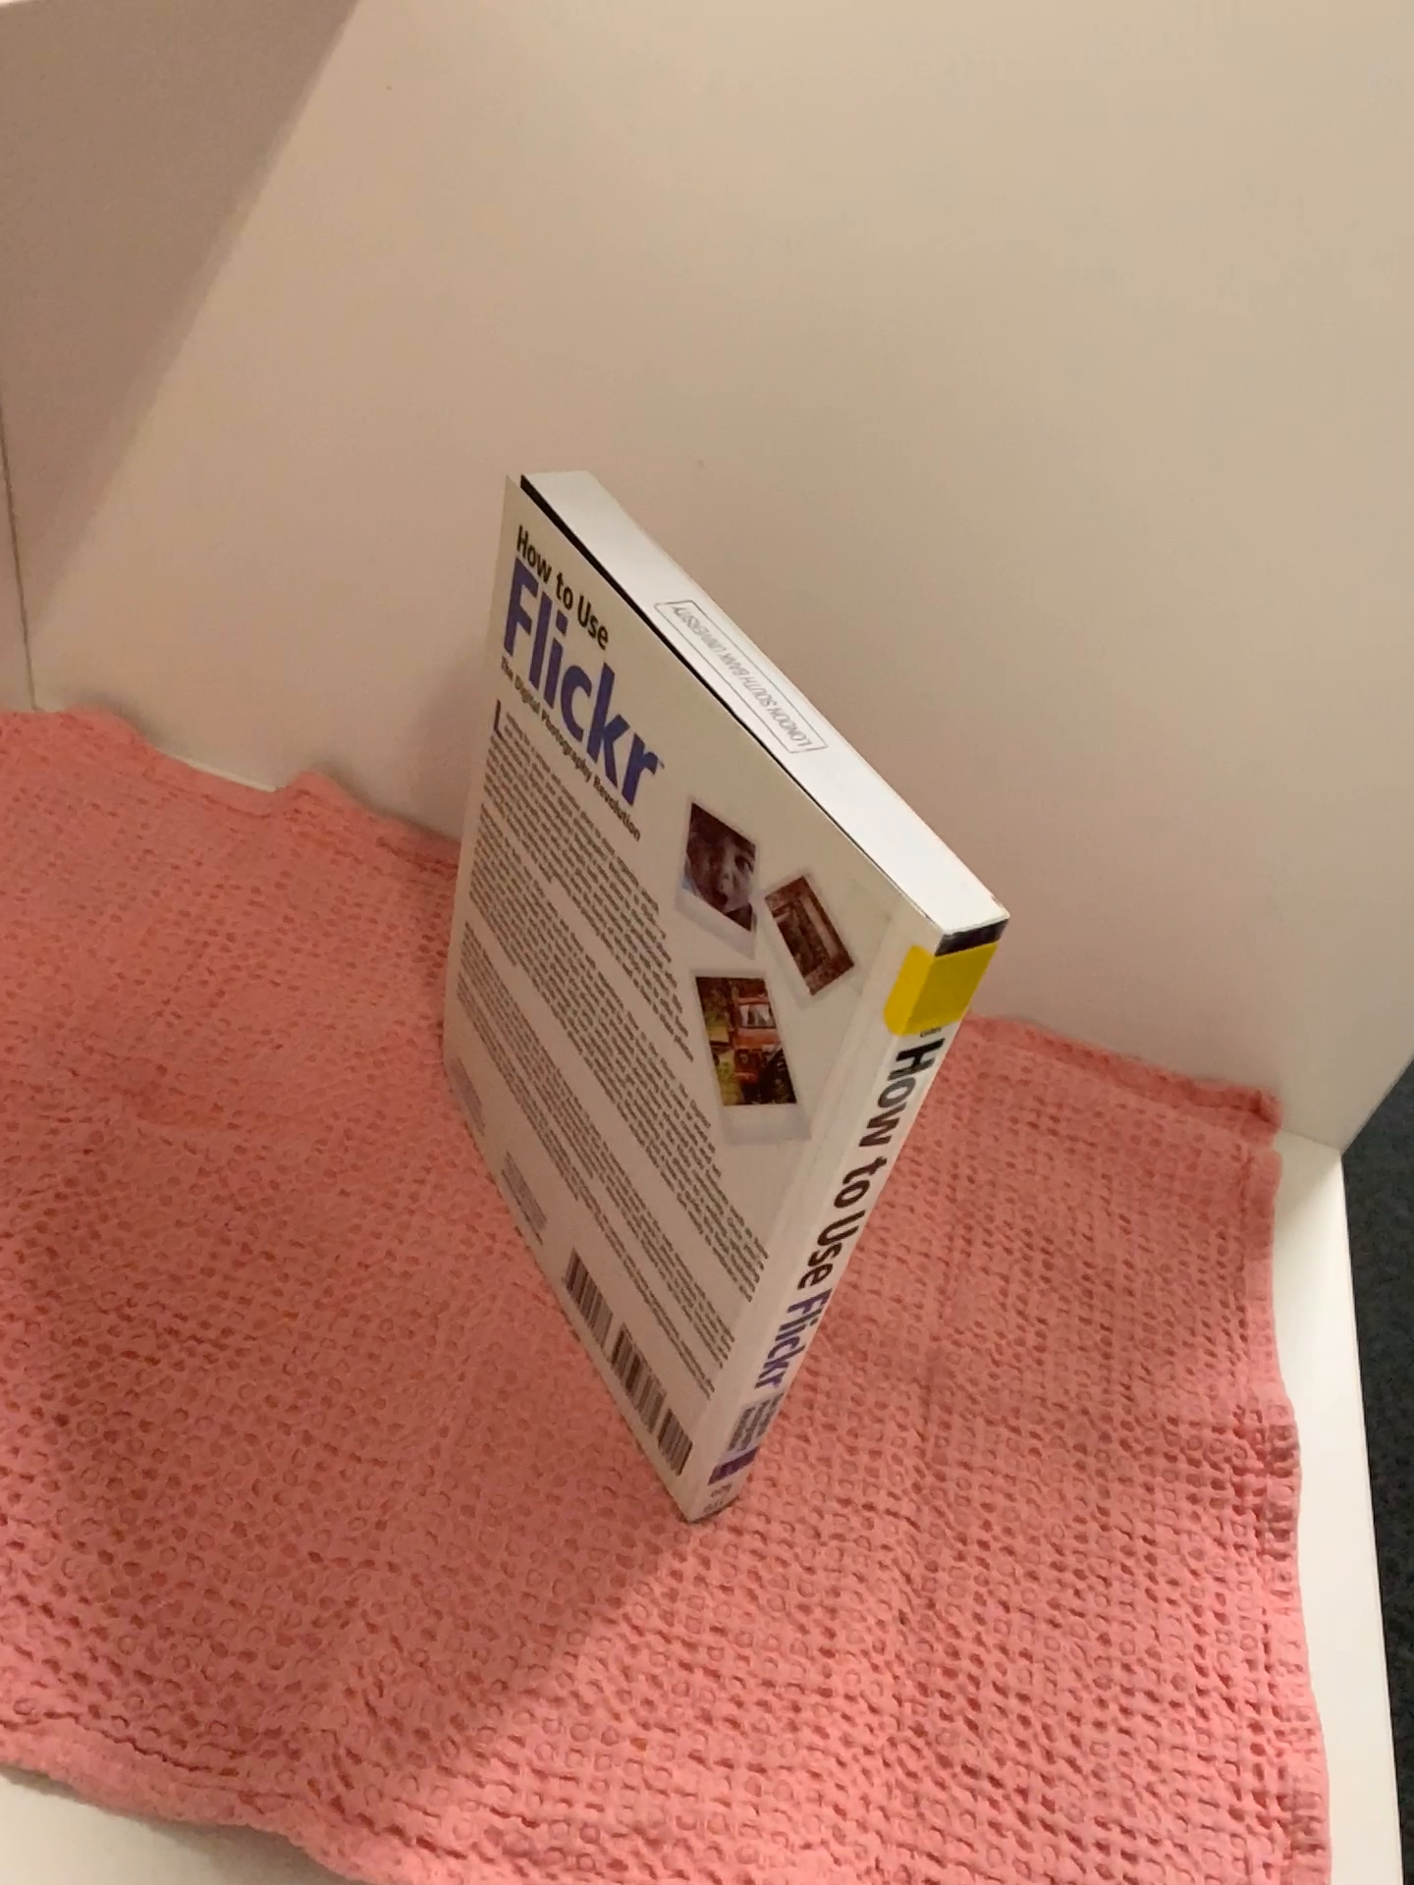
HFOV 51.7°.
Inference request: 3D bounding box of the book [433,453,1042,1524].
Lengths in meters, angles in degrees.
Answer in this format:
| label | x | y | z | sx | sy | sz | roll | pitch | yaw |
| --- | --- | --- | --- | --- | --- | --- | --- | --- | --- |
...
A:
| label | x | y | z | sx | sy | sz | roll | pitch | yaw |
| --- | --- | --- | --- | --- | --- | --- | --- | --- | --- |
| book | -0.017 | 0.017 | 0.405 | 0.025 | 0.228 | 0.192 | -13 | 48 | -30 |
